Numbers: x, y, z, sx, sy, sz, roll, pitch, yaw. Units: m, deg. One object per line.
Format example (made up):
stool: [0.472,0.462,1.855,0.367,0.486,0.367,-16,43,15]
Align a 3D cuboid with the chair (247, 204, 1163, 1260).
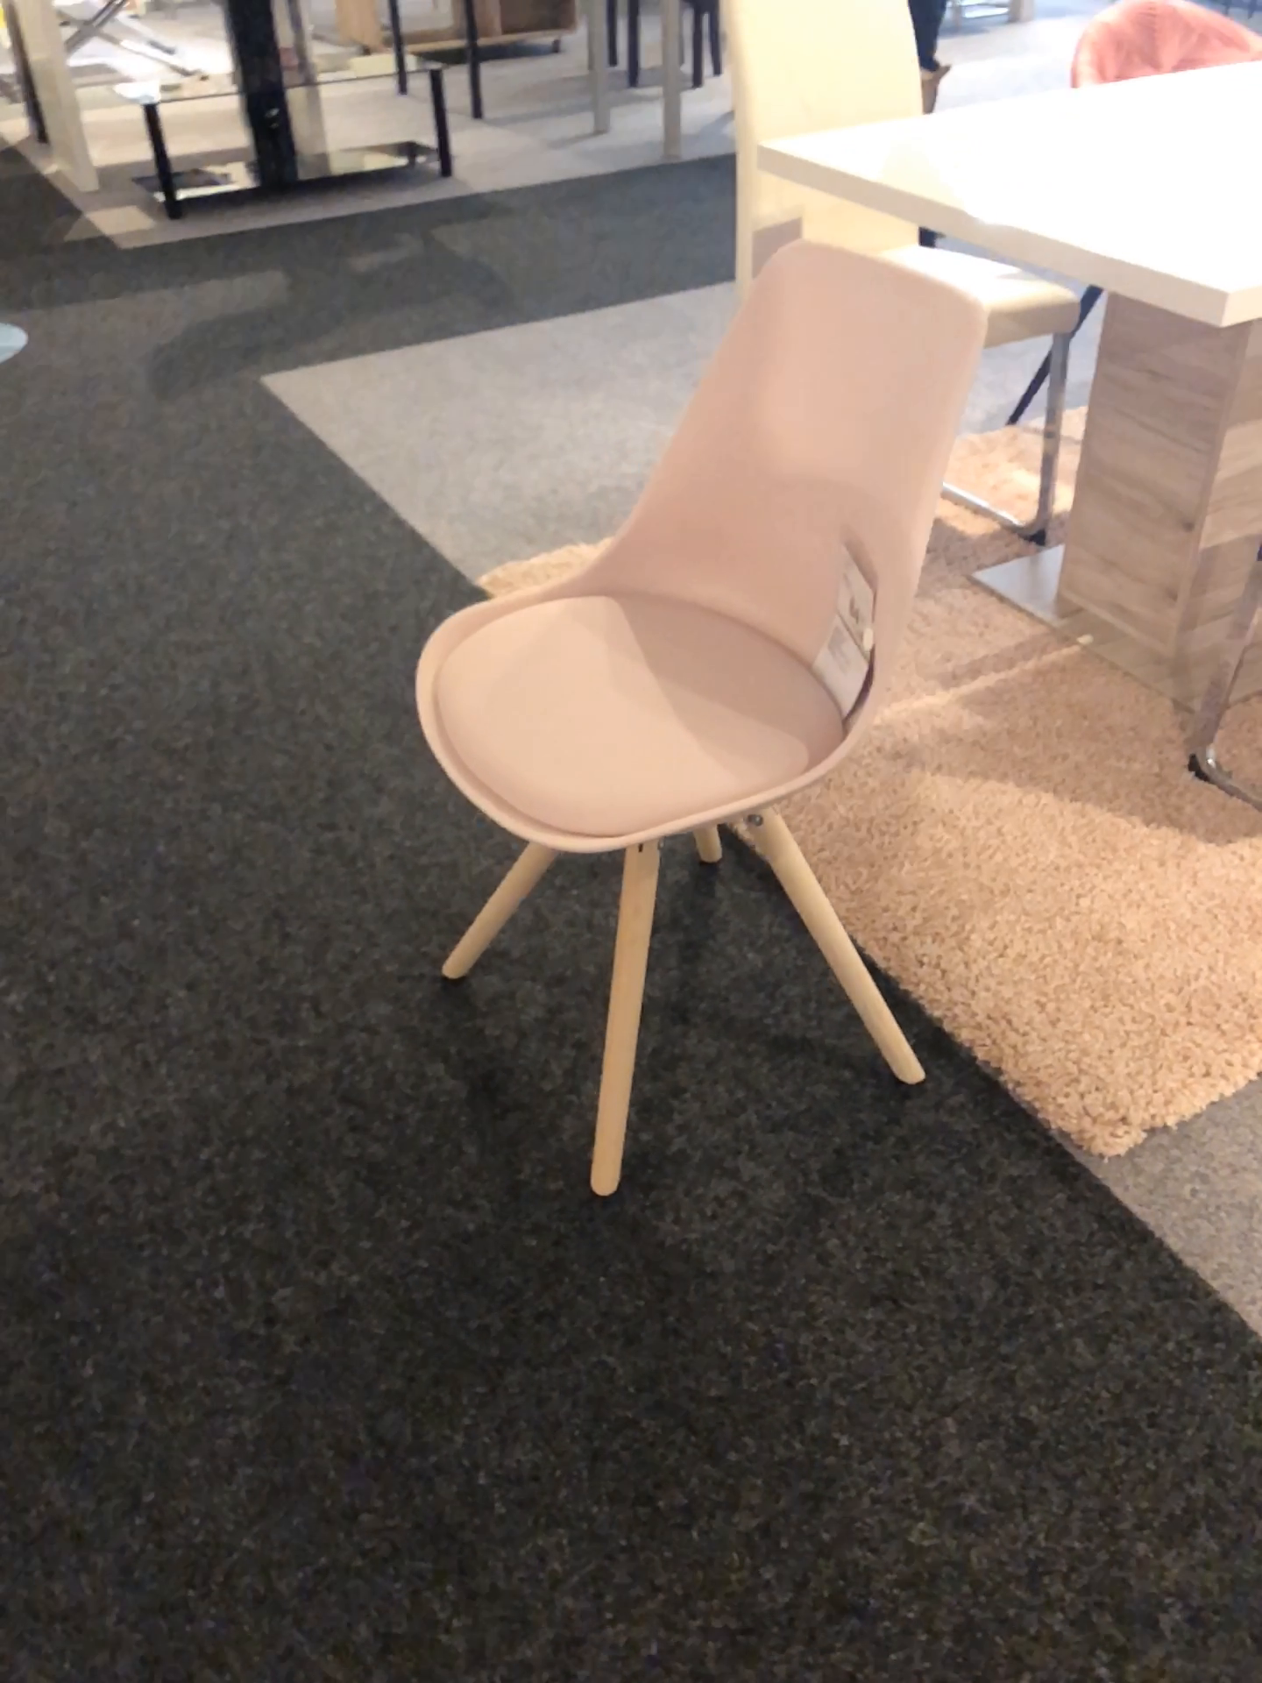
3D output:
chair: [0.042,-0.140,1.408,0.562,0.765,0.571,-20,41,-23]
